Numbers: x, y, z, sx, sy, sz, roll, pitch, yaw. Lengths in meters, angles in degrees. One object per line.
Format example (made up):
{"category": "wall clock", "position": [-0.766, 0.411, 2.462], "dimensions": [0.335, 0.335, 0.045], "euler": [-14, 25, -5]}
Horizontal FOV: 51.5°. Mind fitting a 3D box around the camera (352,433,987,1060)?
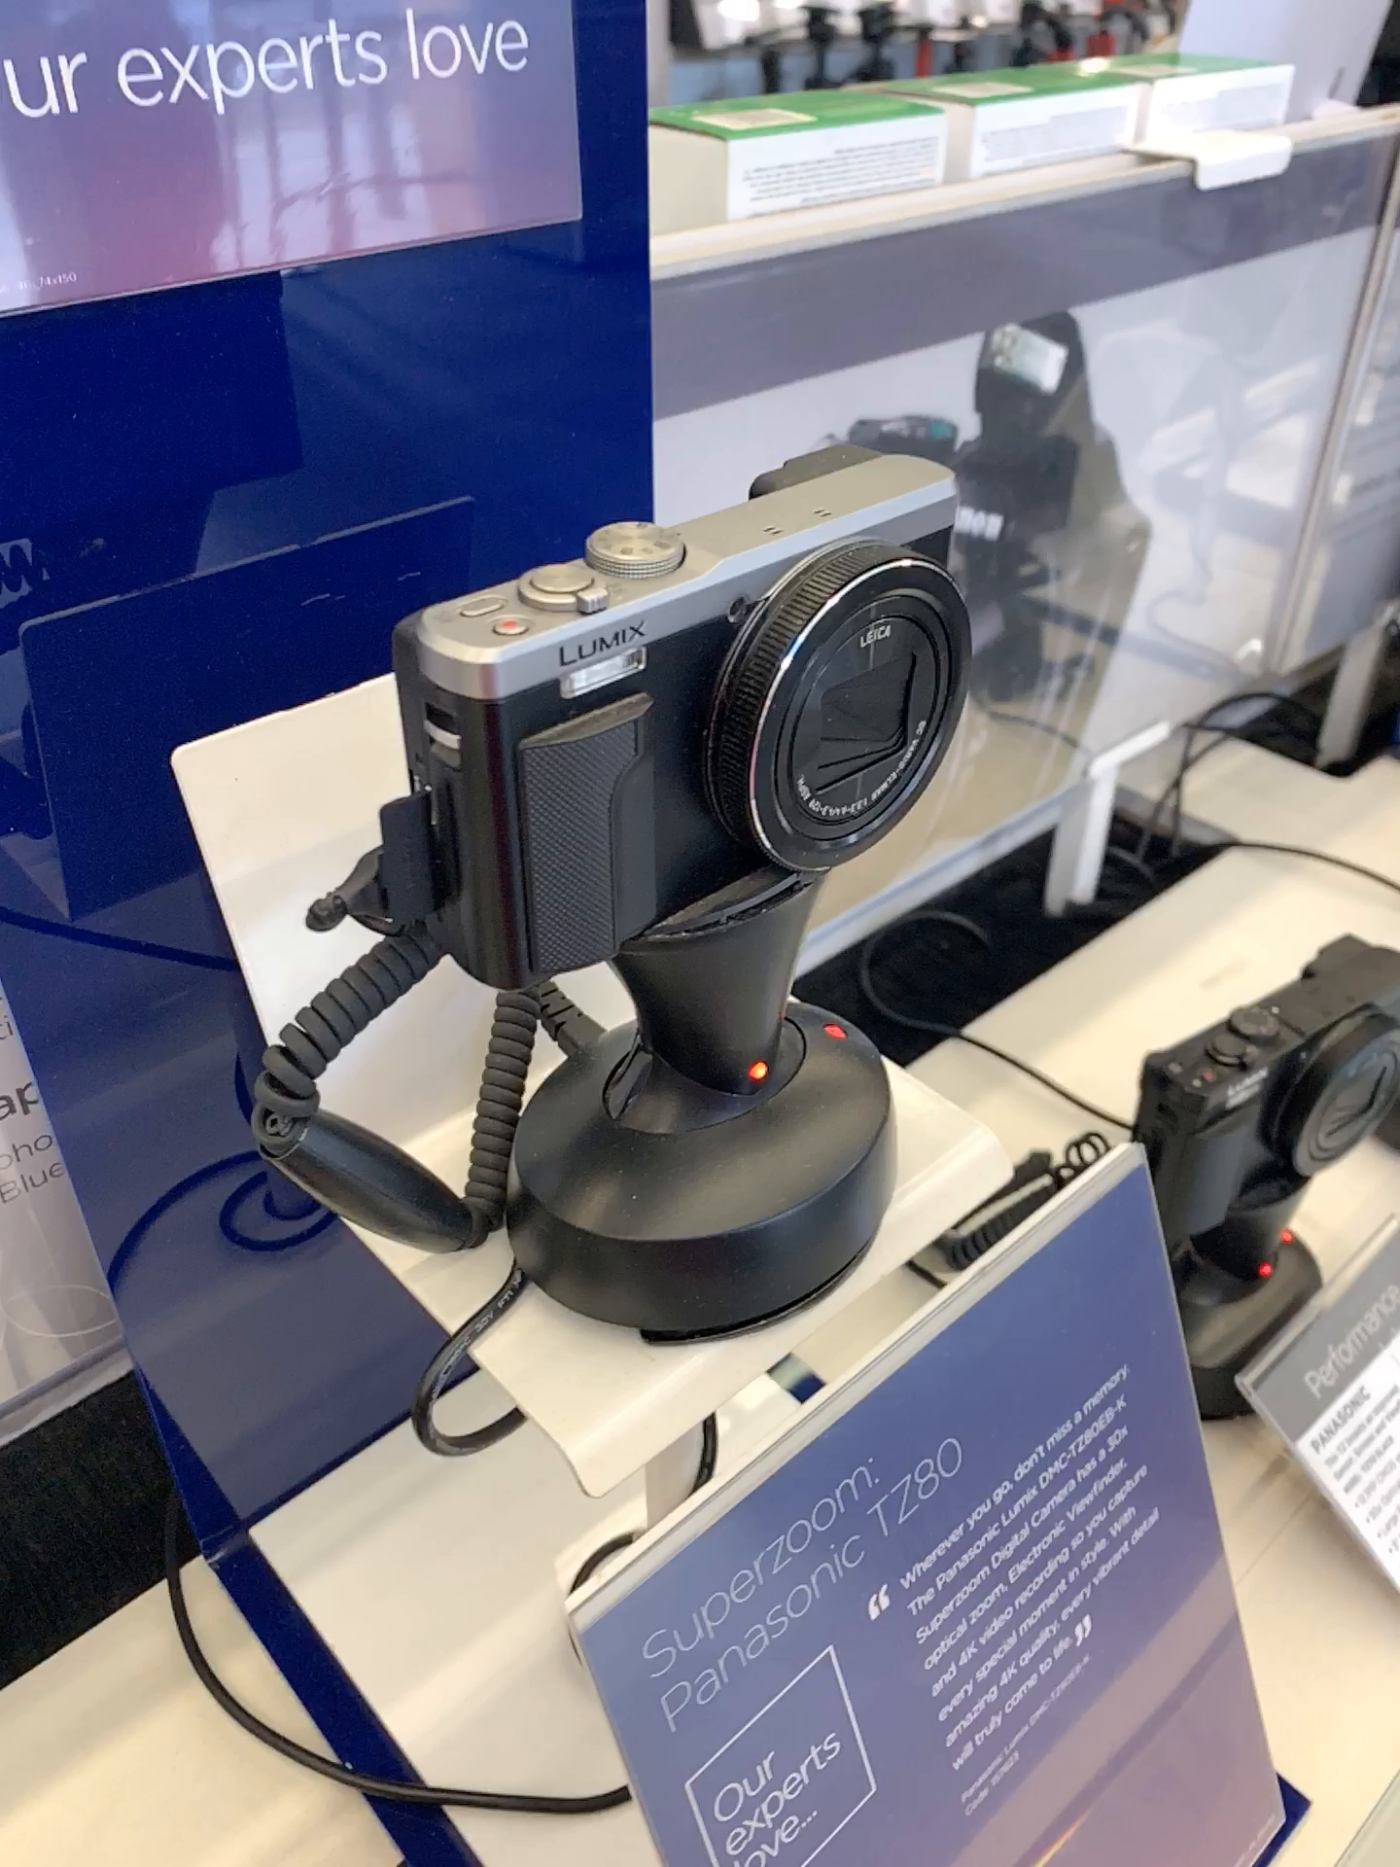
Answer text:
{"category": "camera", "position": [0.000, -0.037, 0.249], "dimensions": [0.111, 0.069, 0.030], "euler": [-29, 44, -36]}
